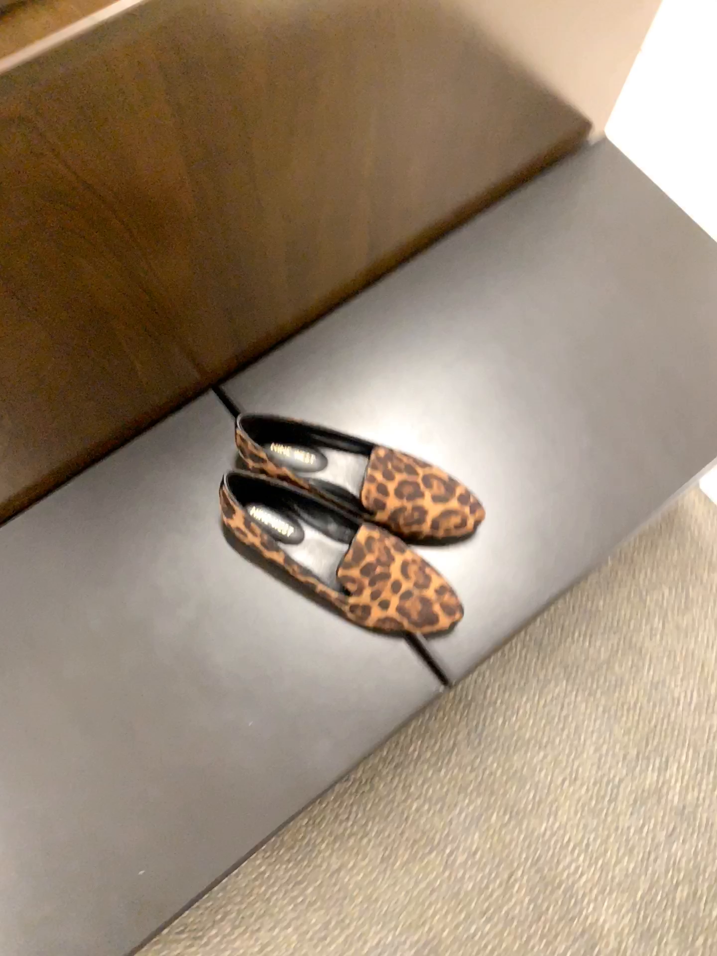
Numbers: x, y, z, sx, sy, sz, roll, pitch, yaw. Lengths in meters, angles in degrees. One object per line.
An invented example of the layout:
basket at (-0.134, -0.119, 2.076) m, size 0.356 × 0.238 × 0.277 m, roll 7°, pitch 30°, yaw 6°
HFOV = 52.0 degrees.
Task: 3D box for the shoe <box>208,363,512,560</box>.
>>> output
shoe at (0.001, -0.012, 0.678) m, size 0.247 × 0.090 × 0.090 m, roll 17°, pitch 71°, yaw 3°

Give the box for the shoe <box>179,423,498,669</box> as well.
shoe at (-0.019, 0.062, 0.642) m, size 0.247 × 0.090 × 0.090 m, roll 28°, pitch 72°, yaw 7°
